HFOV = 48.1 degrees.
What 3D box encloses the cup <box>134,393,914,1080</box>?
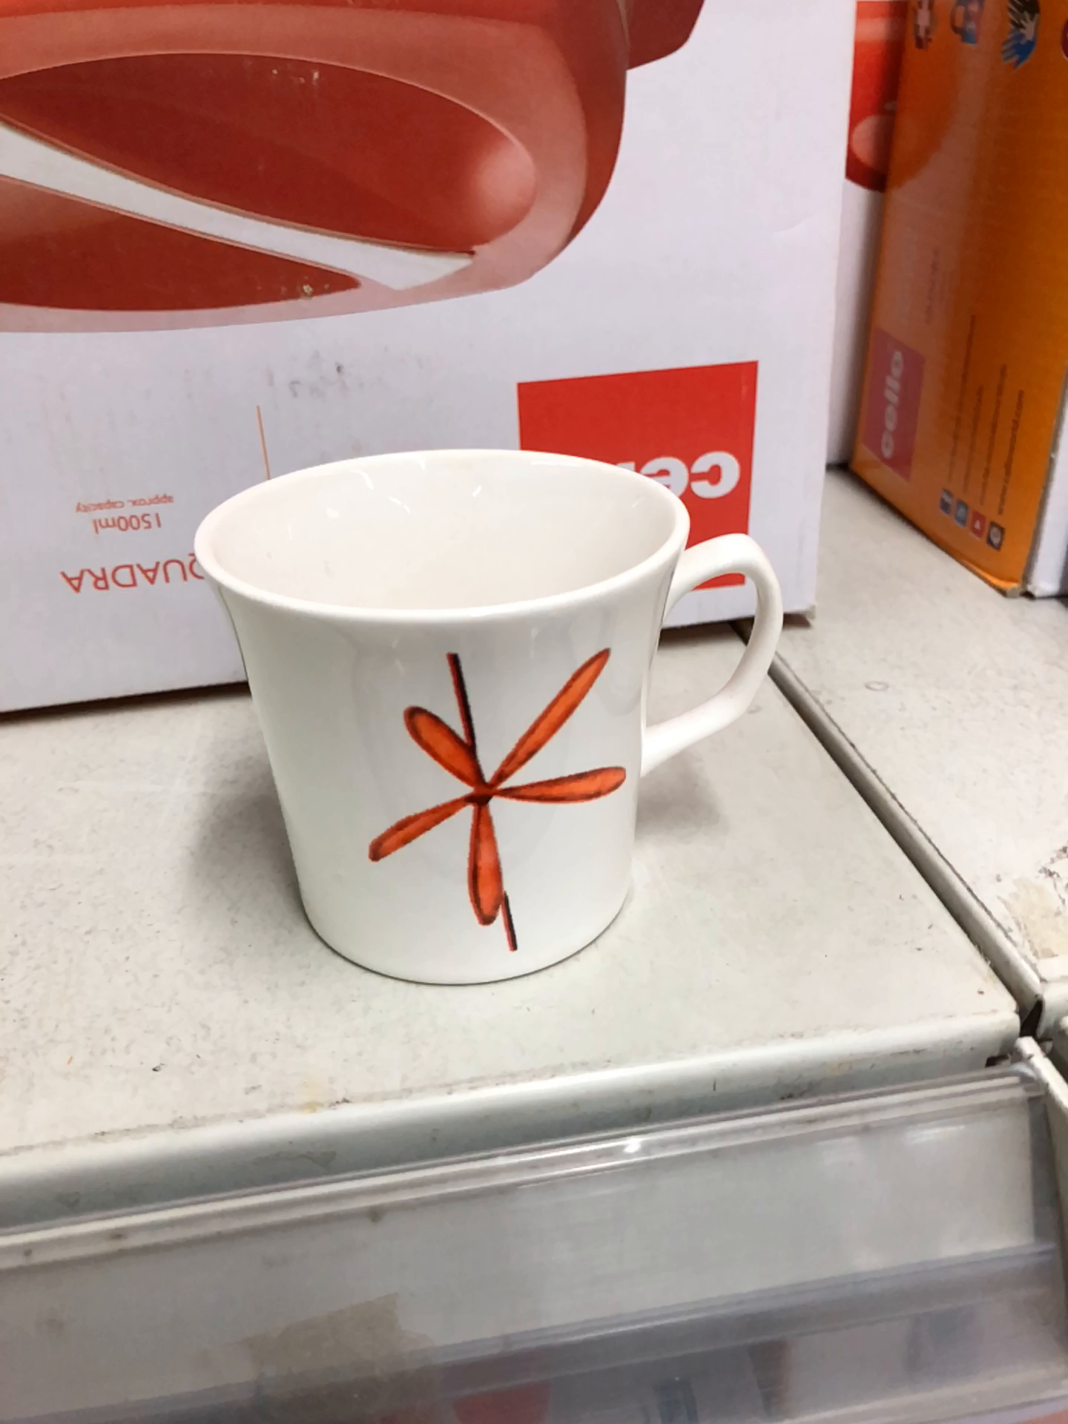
[{"bbox_3d":[-0.005,-0.004,0.197,0.100,0.070,0.070,-11,30,-16],"label":"cup"}]
